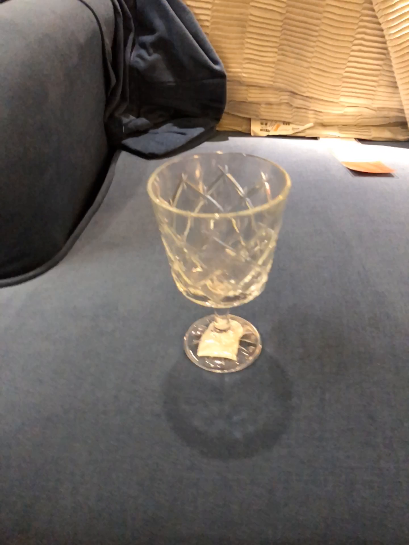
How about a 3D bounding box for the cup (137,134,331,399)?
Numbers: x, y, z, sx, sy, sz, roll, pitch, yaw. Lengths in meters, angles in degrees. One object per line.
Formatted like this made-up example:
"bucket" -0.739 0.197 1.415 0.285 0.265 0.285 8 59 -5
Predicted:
"cup" 0.013 -0.004 0.305 0.090 0.140 0.090 -1 38 1
